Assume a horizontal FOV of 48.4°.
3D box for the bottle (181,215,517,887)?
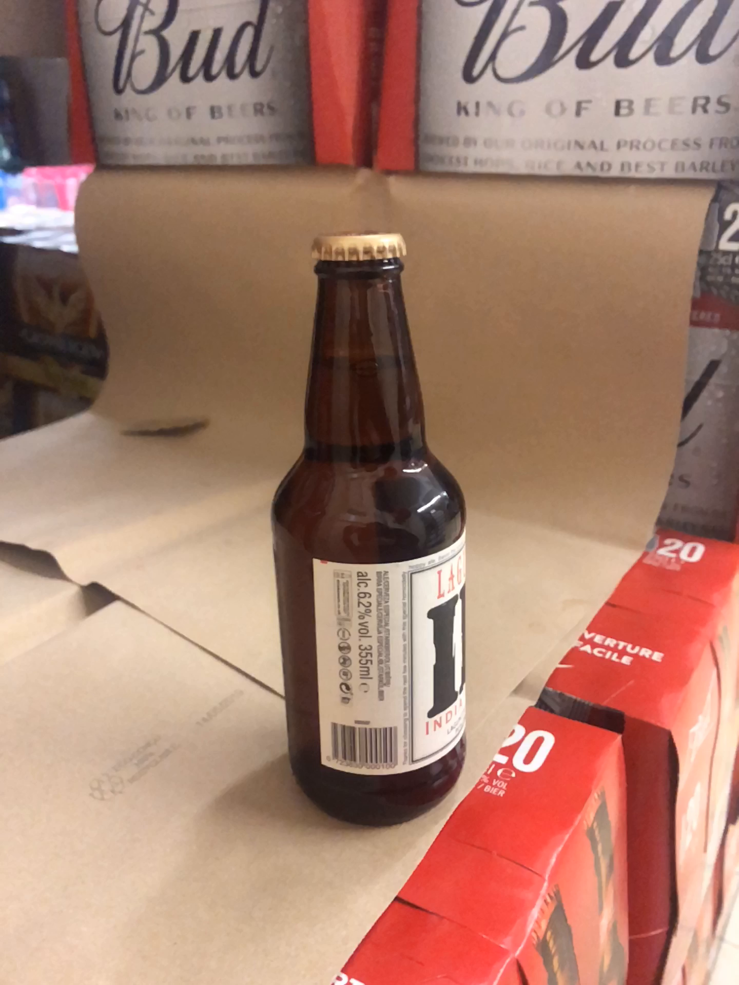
[{"bbox_3d":[-0.005,0.017,0.268,0.080,0.199,0.080,1,21,0],"label":"bottle"}]
